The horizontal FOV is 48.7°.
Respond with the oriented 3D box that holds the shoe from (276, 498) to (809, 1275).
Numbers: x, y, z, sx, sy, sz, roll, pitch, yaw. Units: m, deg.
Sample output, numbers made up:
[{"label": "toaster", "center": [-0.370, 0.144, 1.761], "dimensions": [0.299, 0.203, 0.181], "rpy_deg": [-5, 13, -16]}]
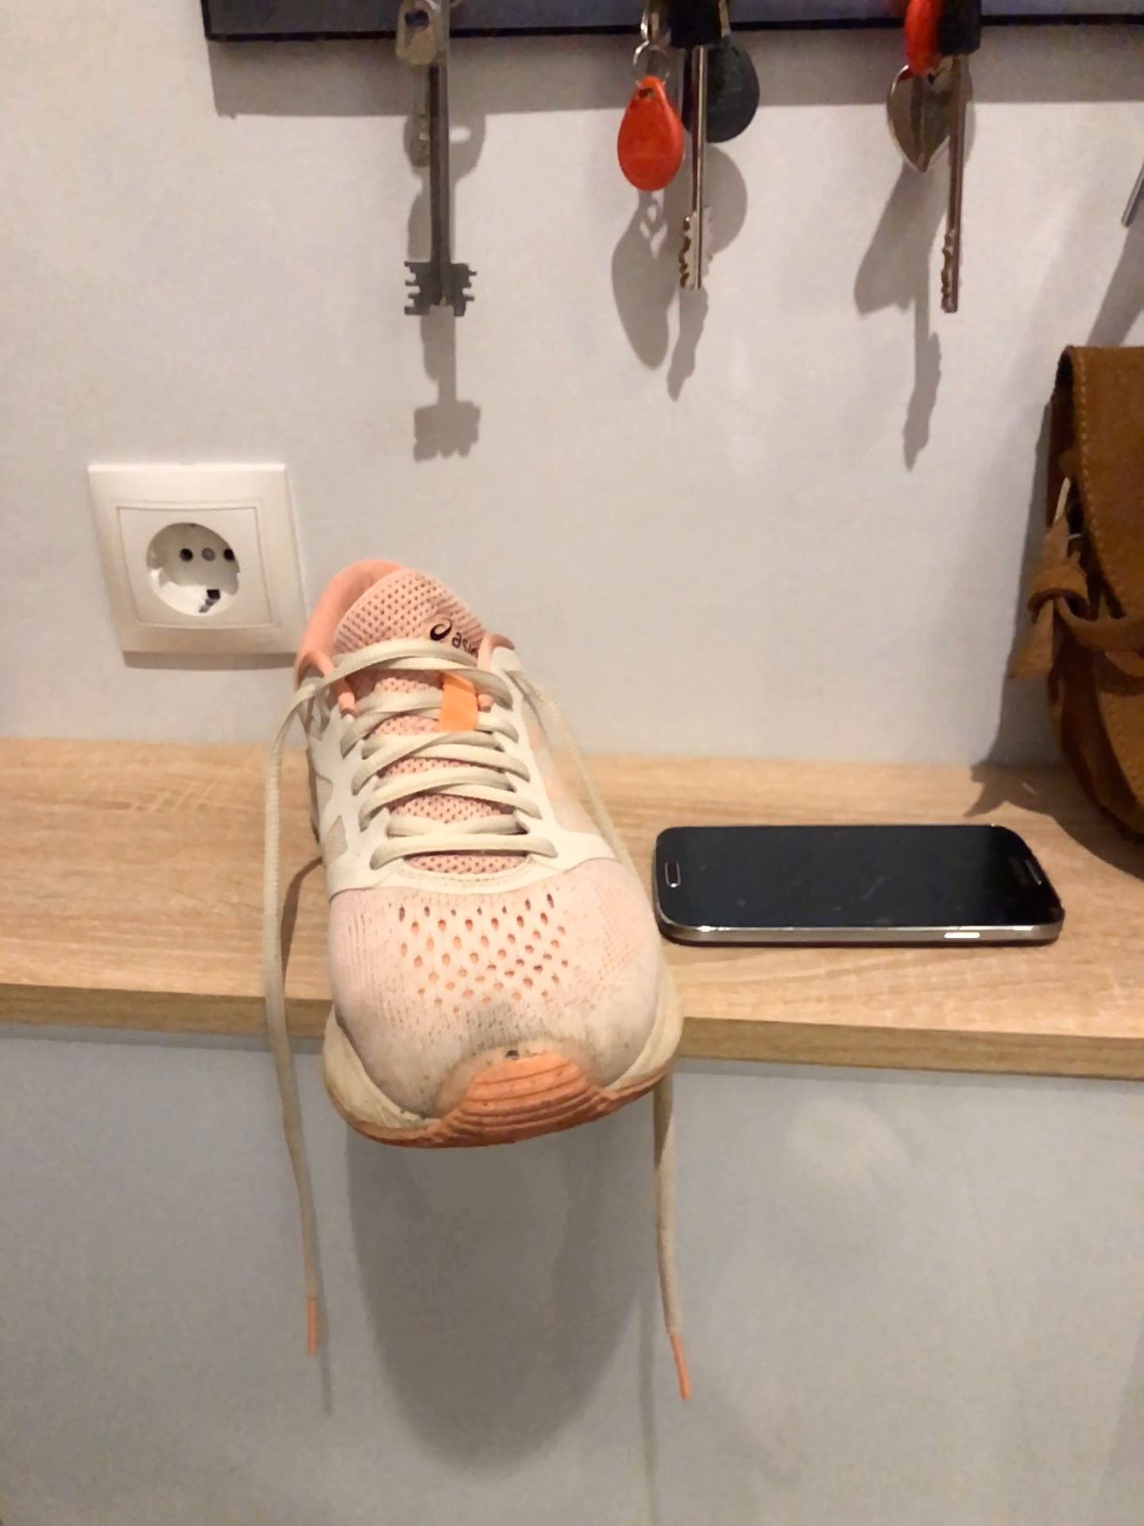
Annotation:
[{"label": "shoe", "center": [-0.030, 0.007, 0.398], "dimensions": [0.110, 0.103, 0.270], "rpy_deg": [-7, 27, -10]}]
